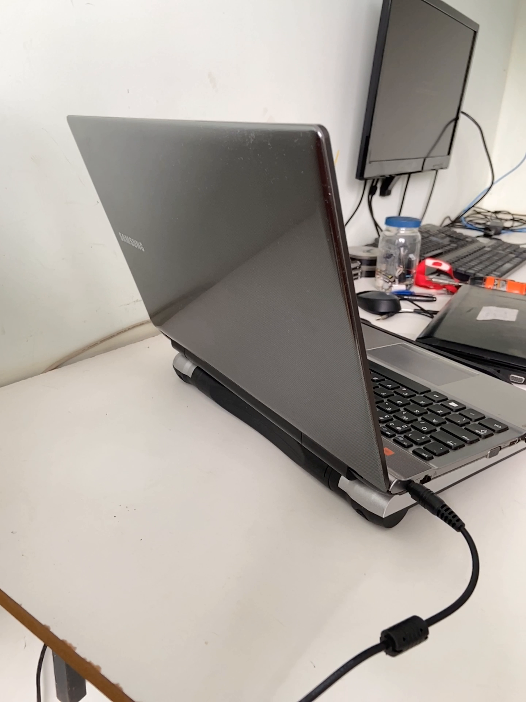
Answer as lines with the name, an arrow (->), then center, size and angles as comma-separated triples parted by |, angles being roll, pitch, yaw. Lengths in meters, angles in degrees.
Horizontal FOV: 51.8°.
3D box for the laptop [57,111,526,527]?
laptop -> 0.045, -0.085, 0.498 | 0.335, 0.213, 0.368 | -10, 25, -34
